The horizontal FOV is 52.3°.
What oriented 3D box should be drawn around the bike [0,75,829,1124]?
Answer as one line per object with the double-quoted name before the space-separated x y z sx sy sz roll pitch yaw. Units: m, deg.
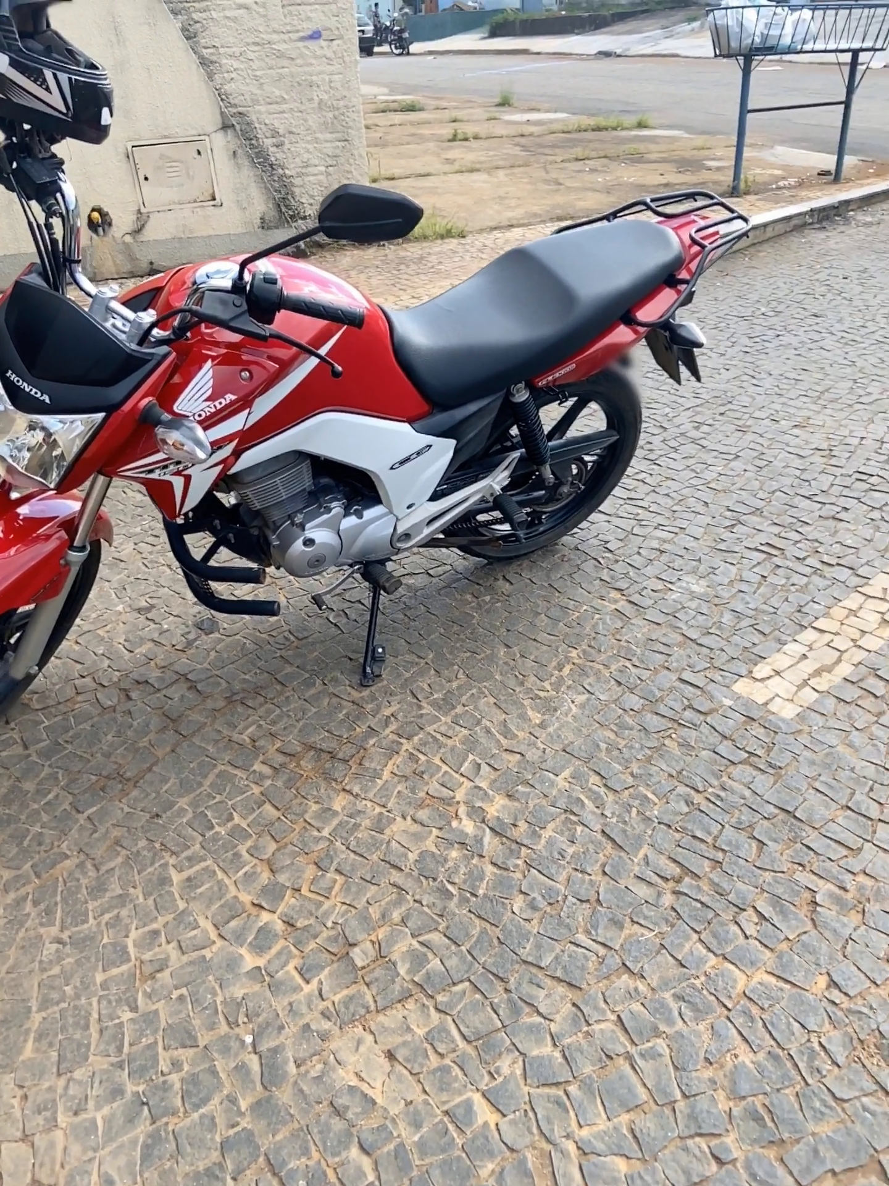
"bike" -0.167 -0.269 1.974 2.077 1.382 0.811 -27 38 -34
